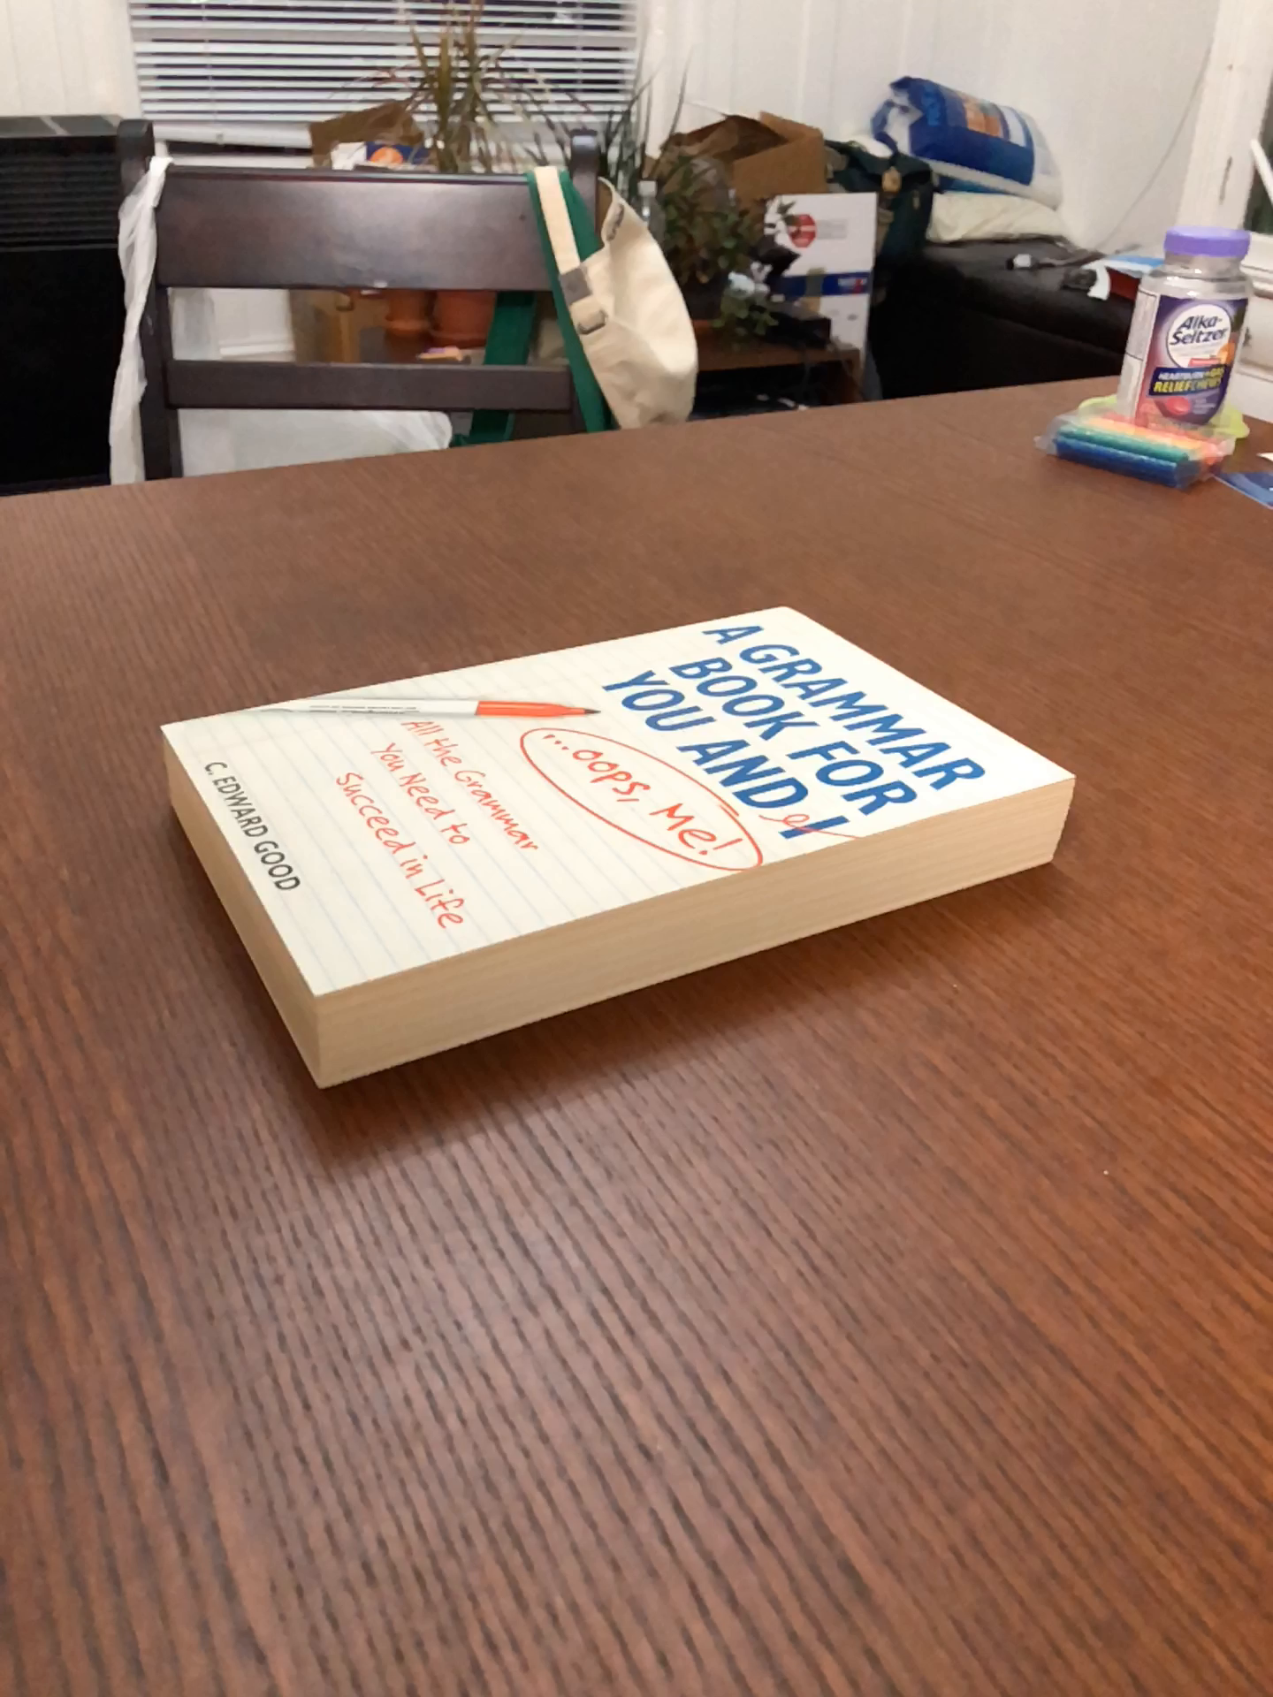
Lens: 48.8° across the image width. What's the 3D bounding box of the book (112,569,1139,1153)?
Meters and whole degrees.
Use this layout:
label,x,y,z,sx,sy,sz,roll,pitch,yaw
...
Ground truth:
label,x,y,z,sx,sy,sz,roll,pitch,yaw
book,-0.009,-0.018,0.408,0.240,0.040,0.171,-14,34,-24
